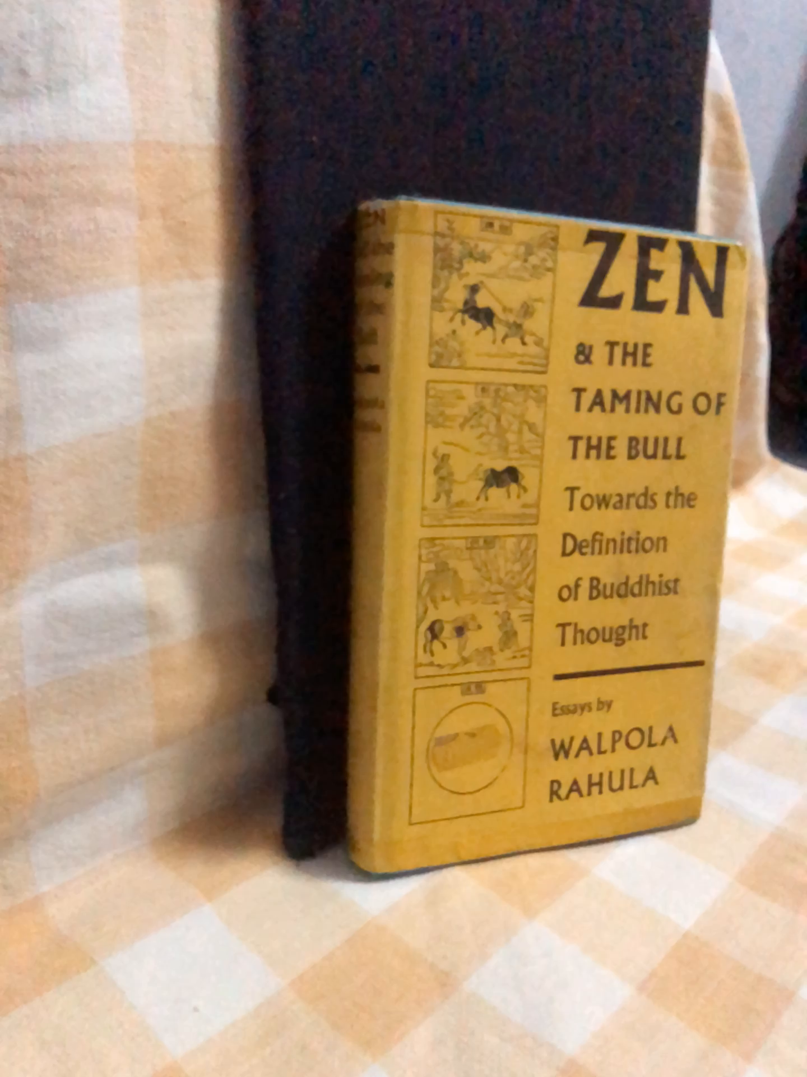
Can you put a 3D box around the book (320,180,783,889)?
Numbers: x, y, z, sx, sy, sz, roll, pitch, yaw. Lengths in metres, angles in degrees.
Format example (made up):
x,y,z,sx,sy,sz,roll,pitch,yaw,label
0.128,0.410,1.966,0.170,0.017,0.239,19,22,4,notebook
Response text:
x,y,z,sx,sy,sz,roll,pitch,yaw,label
0.049,0.002,0.304,0.140,0.210,0.030,0,11,-23,book
